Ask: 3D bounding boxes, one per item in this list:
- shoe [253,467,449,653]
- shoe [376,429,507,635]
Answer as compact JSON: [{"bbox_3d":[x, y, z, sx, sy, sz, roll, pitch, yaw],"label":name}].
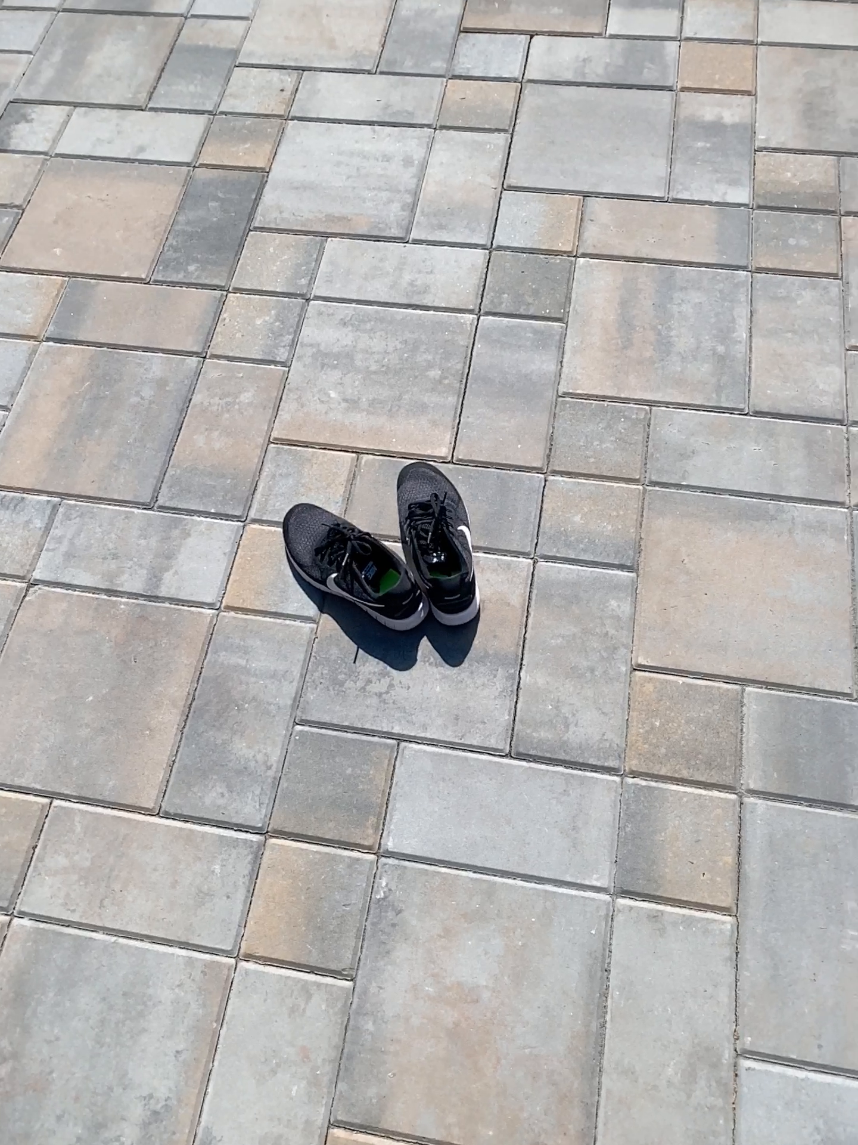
[{"bbox_3d":[-0.106,-0.018,1.226,0.250,0.110,0.110,35,71,17],"label":"shoe"},{"bbox_3d":[0.015,-0.057,1.218,0.110,0.100,0.251,-16,65,-4],"label":"shoe"}]
